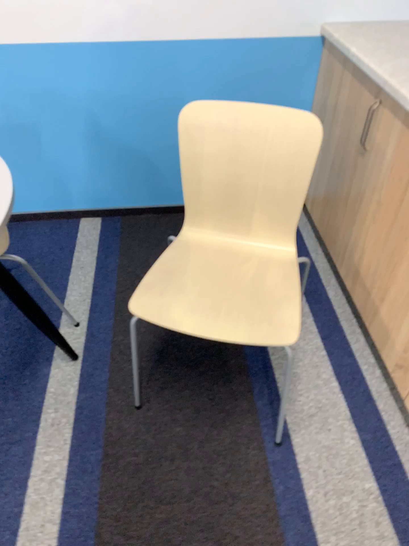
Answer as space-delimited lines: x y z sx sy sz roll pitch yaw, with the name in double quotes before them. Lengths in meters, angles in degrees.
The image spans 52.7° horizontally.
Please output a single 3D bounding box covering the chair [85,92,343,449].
"chair" 0.074 0.004 1.244 0.476 0.836 0.573 10 43 12
